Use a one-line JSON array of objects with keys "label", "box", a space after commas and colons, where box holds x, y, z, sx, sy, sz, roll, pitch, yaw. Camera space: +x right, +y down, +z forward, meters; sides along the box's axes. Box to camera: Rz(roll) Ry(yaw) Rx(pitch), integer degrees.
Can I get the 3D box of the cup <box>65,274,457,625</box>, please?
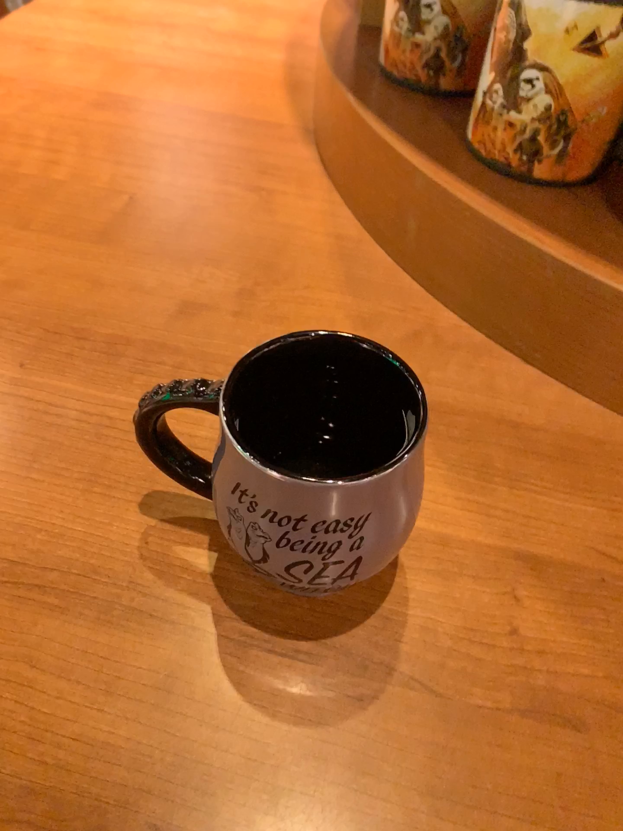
[{"label": "cup", "box": [-0.015, 0.014, 0.270, 0.125, 0.089, 0.087, 12, 49, 5]}]
